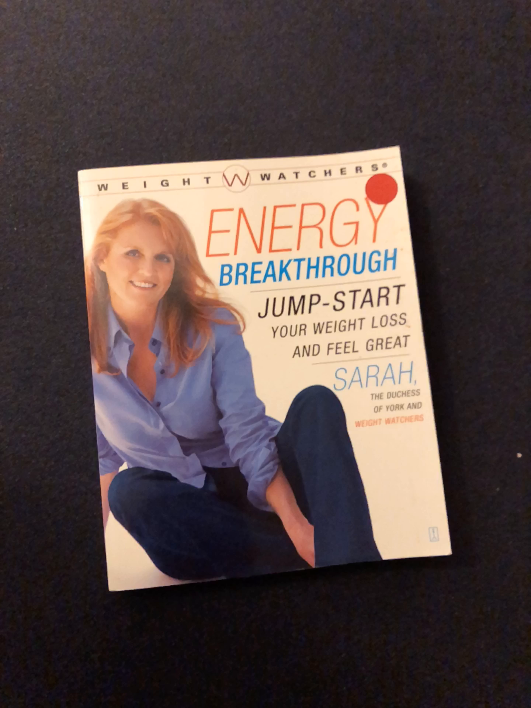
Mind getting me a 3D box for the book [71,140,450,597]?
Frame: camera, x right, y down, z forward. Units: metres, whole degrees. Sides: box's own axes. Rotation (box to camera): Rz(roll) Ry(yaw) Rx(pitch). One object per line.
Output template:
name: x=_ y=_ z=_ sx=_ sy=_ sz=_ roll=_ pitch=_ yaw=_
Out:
book: x=-0.006 y=0.002 z=0.336 sx=0.185 sy=0.030 sz=0.234 roll=-5 pitch=84 yaw=-4
